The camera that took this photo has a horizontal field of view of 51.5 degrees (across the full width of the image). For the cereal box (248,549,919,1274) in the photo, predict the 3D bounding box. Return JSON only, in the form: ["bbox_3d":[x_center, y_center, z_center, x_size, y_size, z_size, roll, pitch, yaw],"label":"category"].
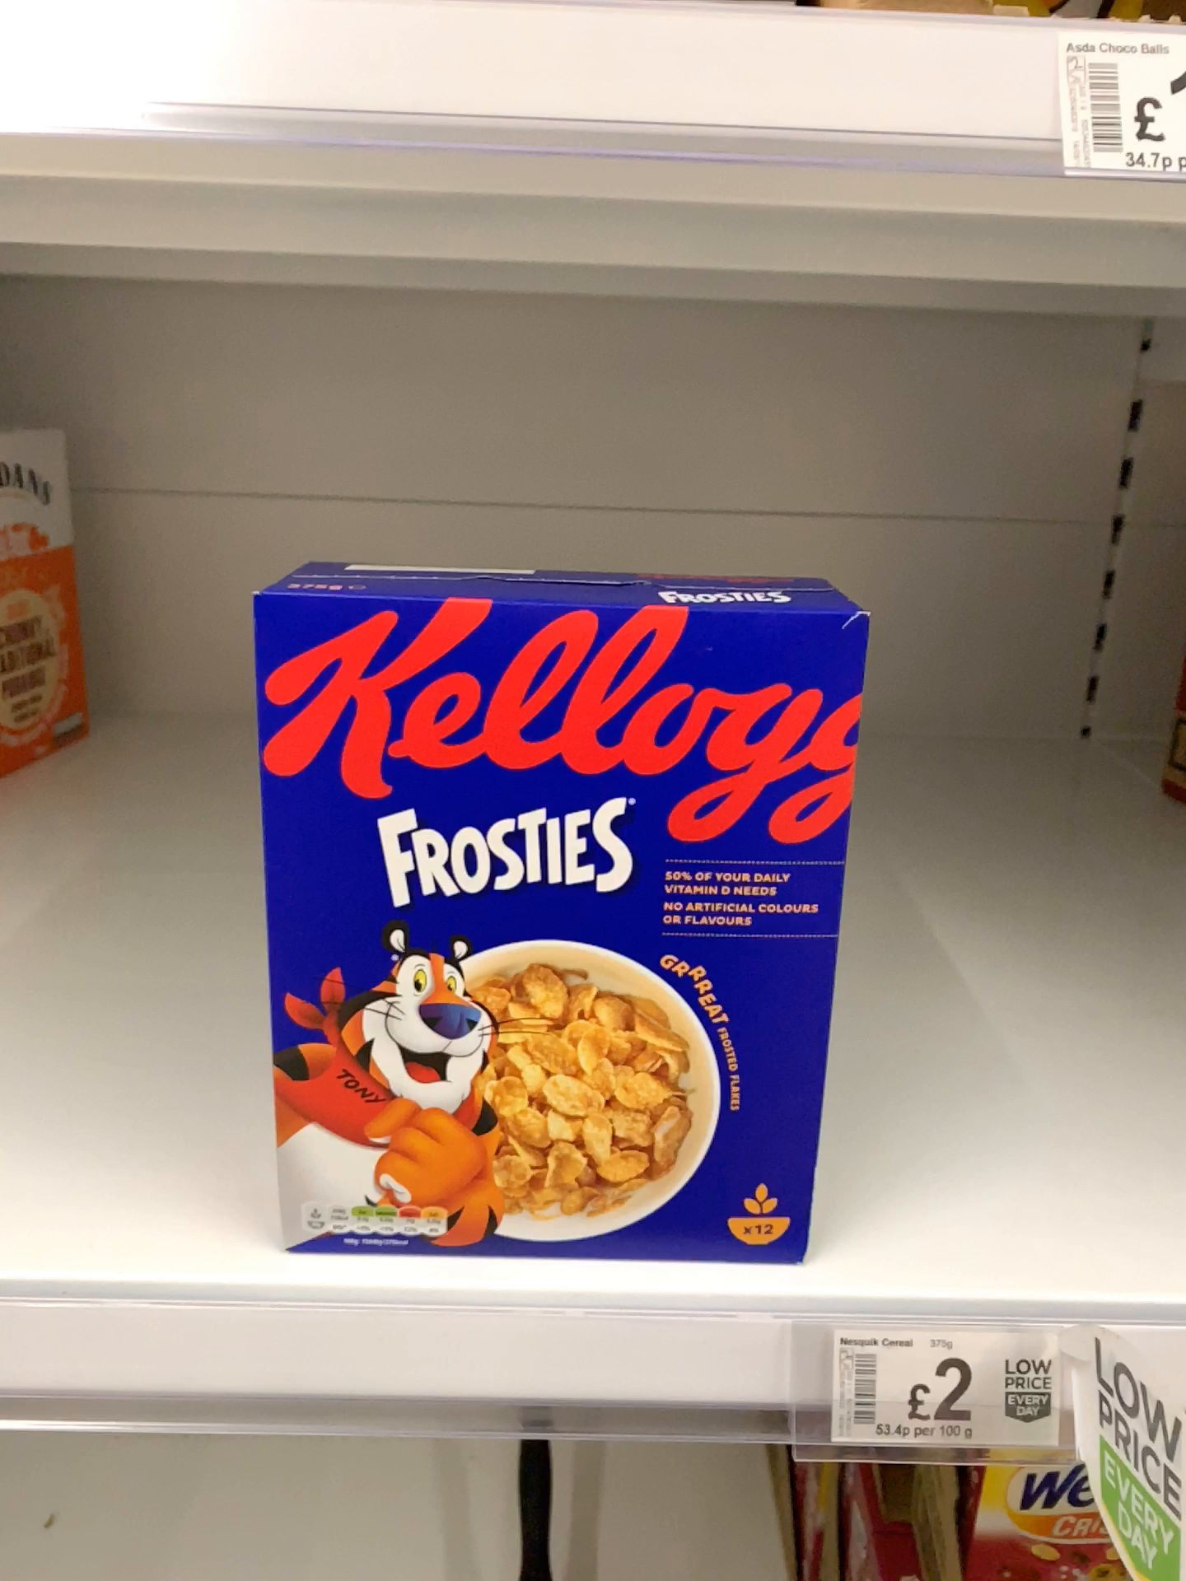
[{"bbox_3d":[-0.007,0.043,0.440,0.200,0.238,0.081,2,18,-1],"label":"cereal box"}]
